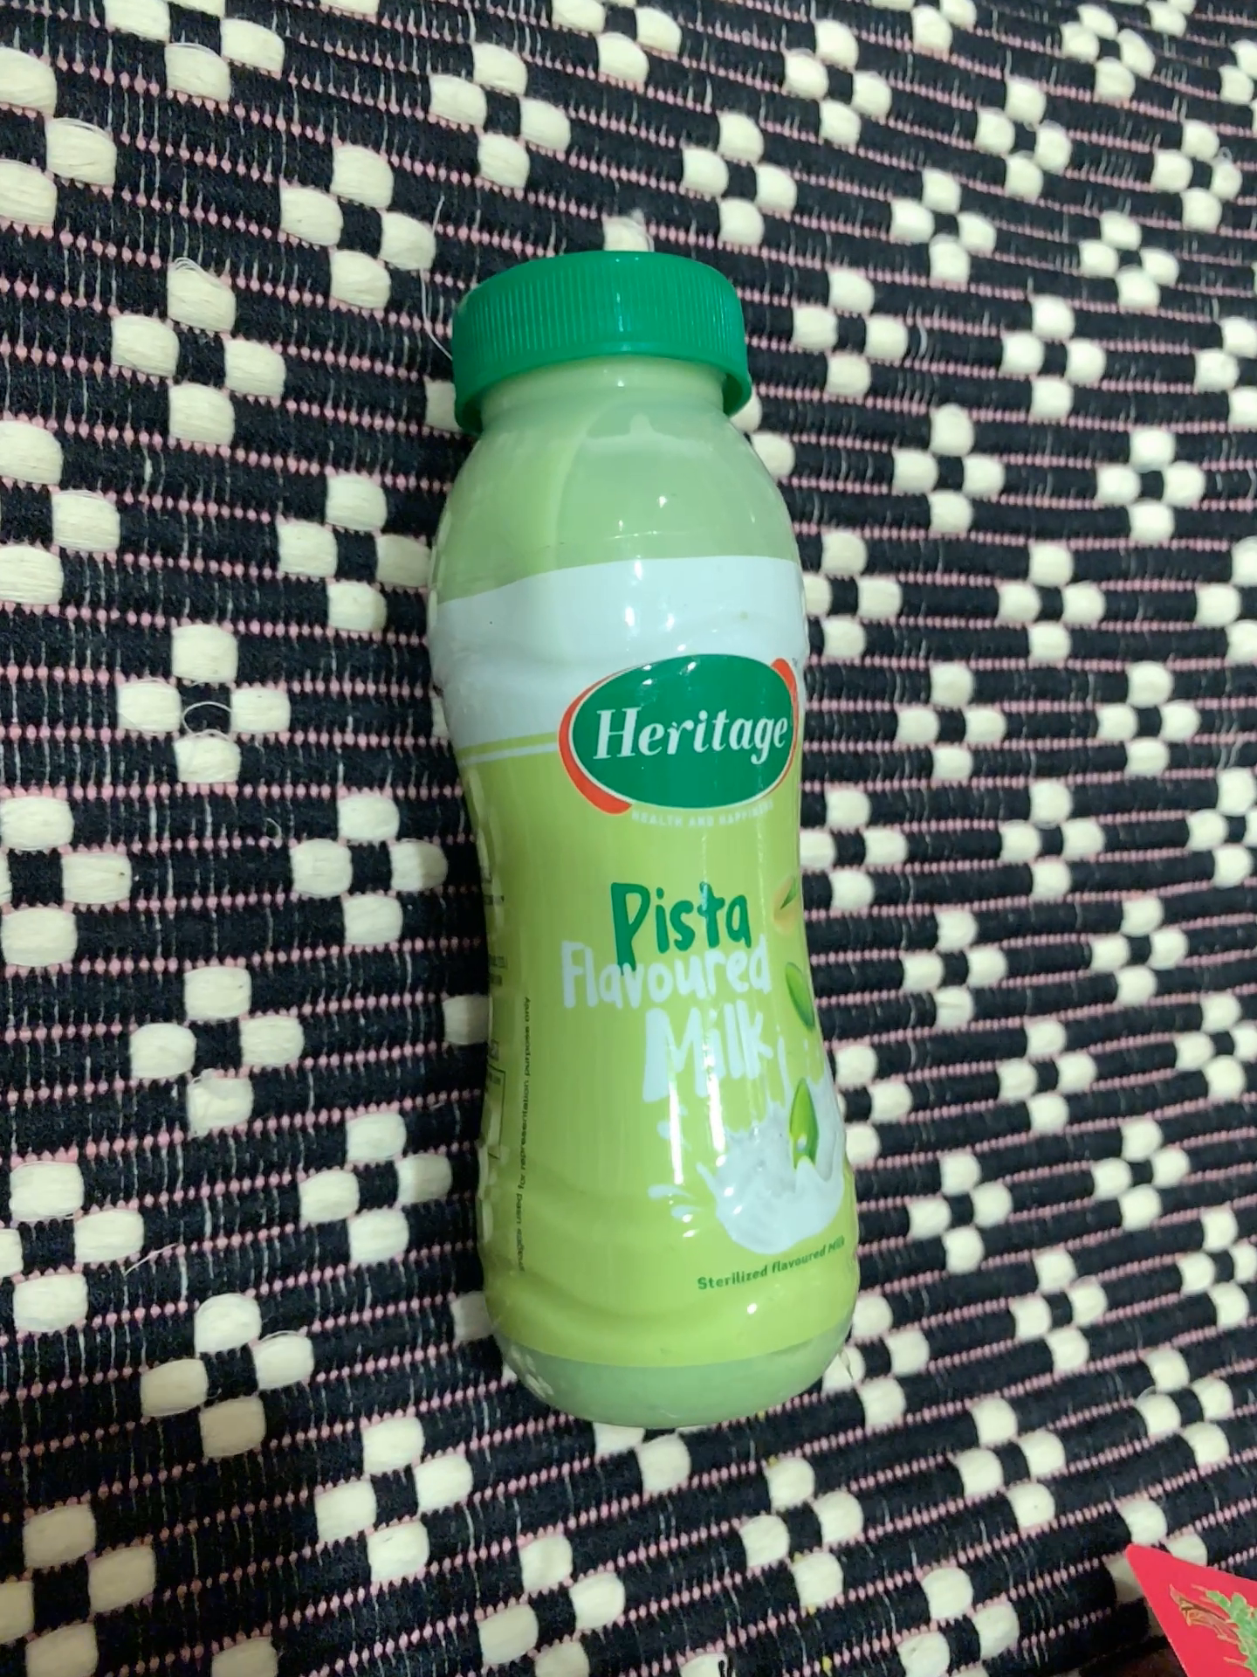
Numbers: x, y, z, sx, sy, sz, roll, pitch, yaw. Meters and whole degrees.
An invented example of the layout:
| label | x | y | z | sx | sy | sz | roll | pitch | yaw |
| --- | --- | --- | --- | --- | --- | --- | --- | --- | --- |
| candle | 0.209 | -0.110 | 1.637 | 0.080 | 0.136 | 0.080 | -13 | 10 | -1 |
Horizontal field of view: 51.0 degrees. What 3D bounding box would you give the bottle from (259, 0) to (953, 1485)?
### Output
| label | x | y | z | sx | sy | sz | roll | pitch | yaw |
| --- | --- | --- | --- | --- | --- | --- | --- | --- | --- |
| bottle | -0.005 | -0.013 | 0.162 | 0.050 | 0.050 | 0.150 | -6 | 88 | -31 |
